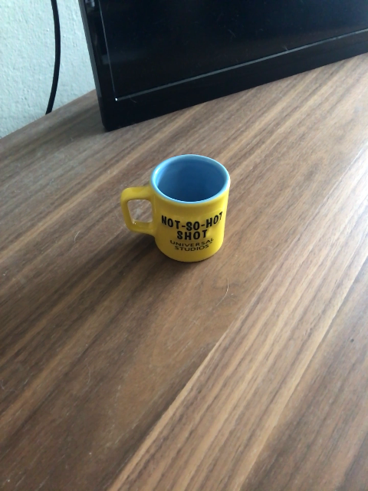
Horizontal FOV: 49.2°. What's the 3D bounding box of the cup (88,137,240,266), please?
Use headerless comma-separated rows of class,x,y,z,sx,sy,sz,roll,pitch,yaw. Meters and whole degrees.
cup,-0.015,-0.031,0.280,0.090,0.060,0.060,-4,48,-5
